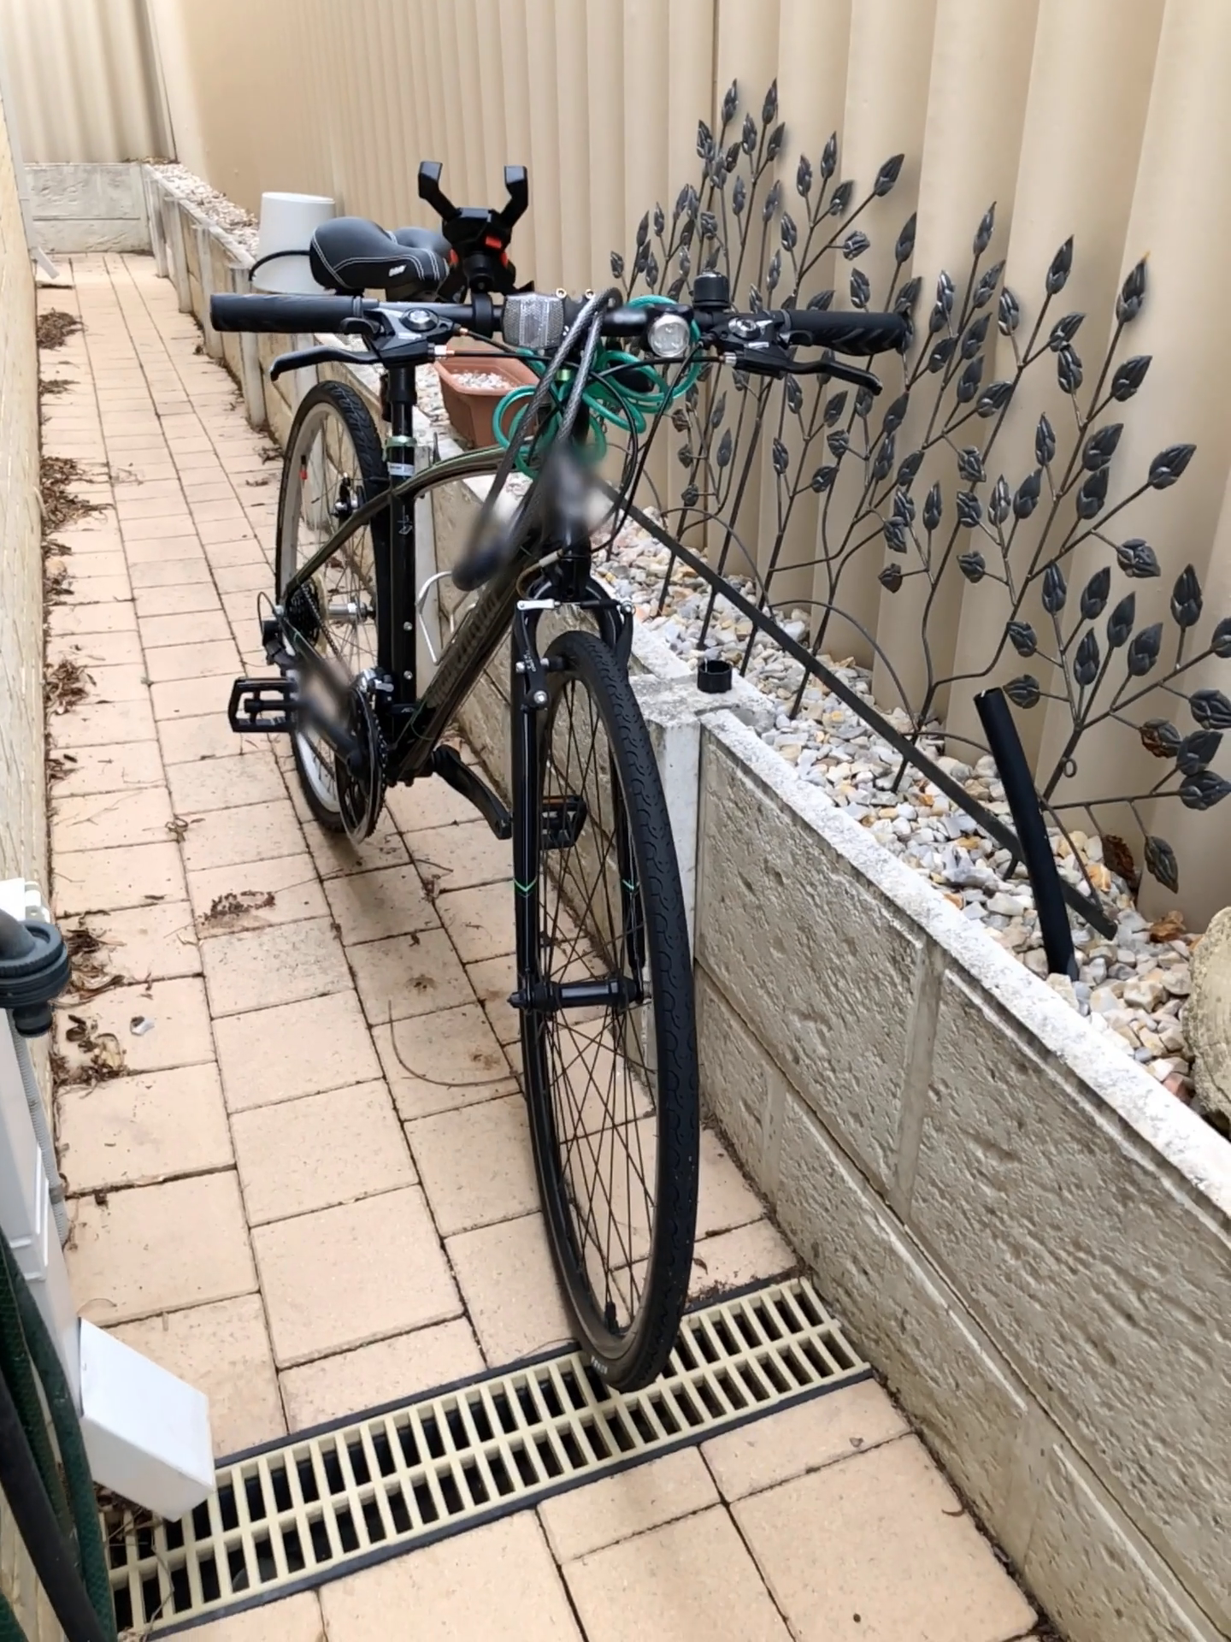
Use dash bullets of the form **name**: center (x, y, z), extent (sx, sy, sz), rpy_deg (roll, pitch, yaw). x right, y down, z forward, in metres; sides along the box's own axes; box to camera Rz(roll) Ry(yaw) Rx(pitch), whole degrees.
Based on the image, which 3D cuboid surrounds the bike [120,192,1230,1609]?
- **bike**: center (-0.144, -0.218, 1.618), extent (0.638, 0.859, 1.705), rpy_deg (-9, 30, -19)
